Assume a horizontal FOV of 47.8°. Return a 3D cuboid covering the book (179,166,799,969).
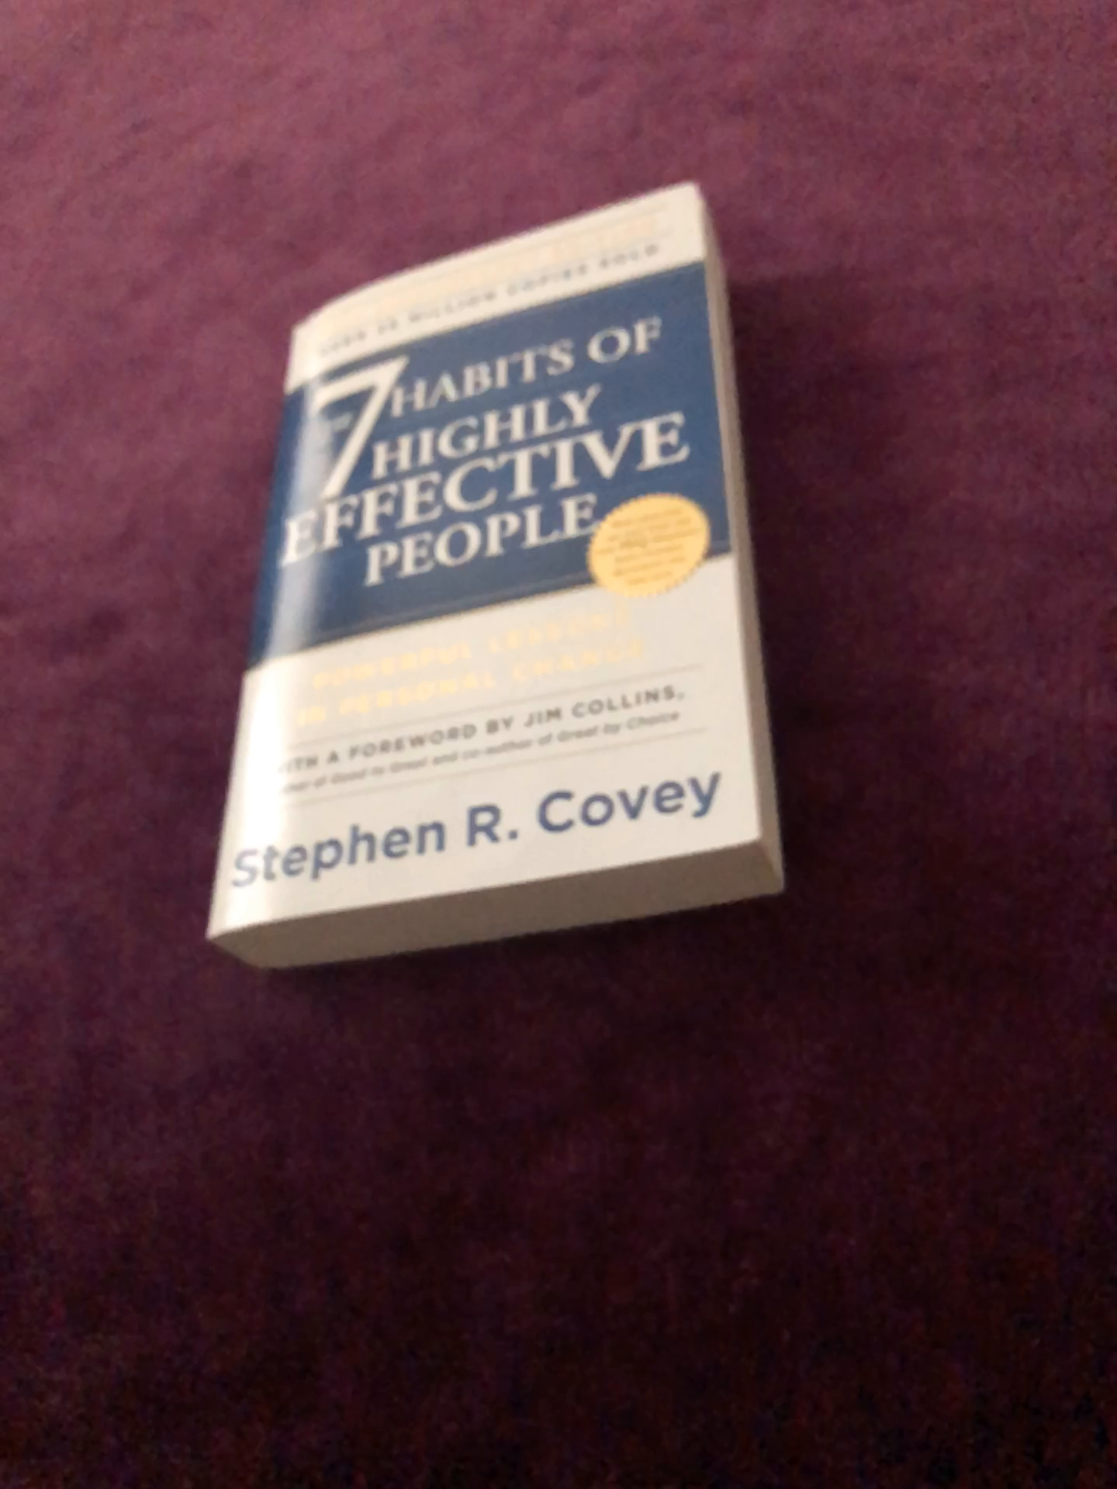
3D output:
[{"bbox_3d":[-0.019,-0.055,0.349,0.147,0.028,0.218,-10,59,18],"label":"book"}]
